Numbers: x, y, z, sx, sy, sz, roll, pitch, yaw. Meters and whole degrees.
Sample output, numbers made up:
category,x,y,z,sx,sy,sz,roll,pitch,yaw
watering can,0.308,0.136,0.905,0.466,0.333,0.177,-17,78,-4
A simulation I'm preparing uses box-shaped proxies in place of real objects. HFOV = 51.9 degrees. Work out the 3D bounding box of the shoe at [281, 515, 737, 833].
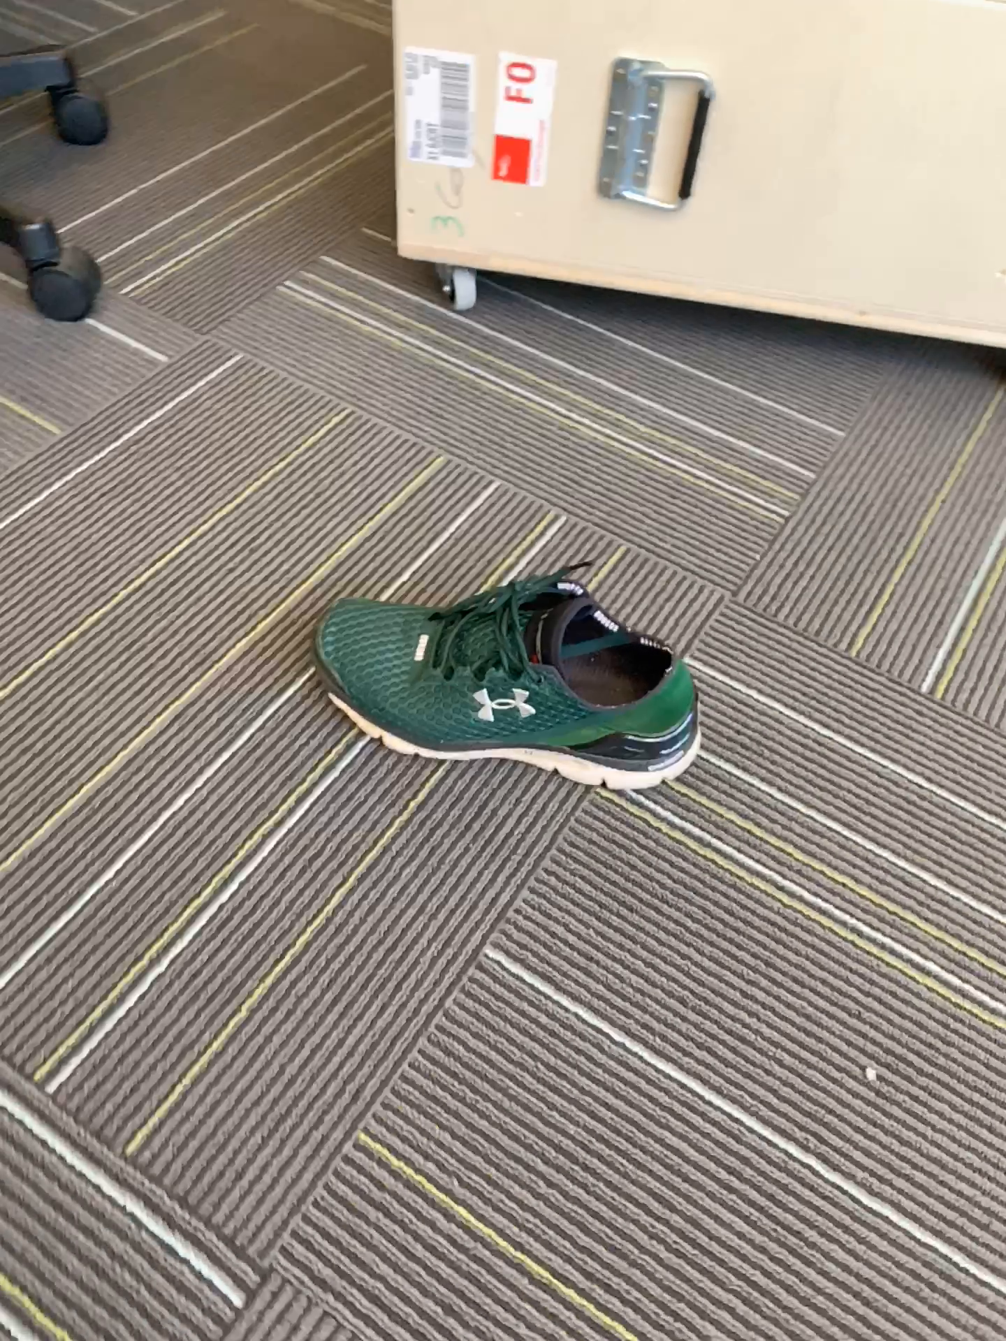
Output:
category,x,y,z,sx,sy,sz,roll,pitch,yaw
shoe,0.005,0.002,0.773,0.300,0.119,0.120,14,53,7
